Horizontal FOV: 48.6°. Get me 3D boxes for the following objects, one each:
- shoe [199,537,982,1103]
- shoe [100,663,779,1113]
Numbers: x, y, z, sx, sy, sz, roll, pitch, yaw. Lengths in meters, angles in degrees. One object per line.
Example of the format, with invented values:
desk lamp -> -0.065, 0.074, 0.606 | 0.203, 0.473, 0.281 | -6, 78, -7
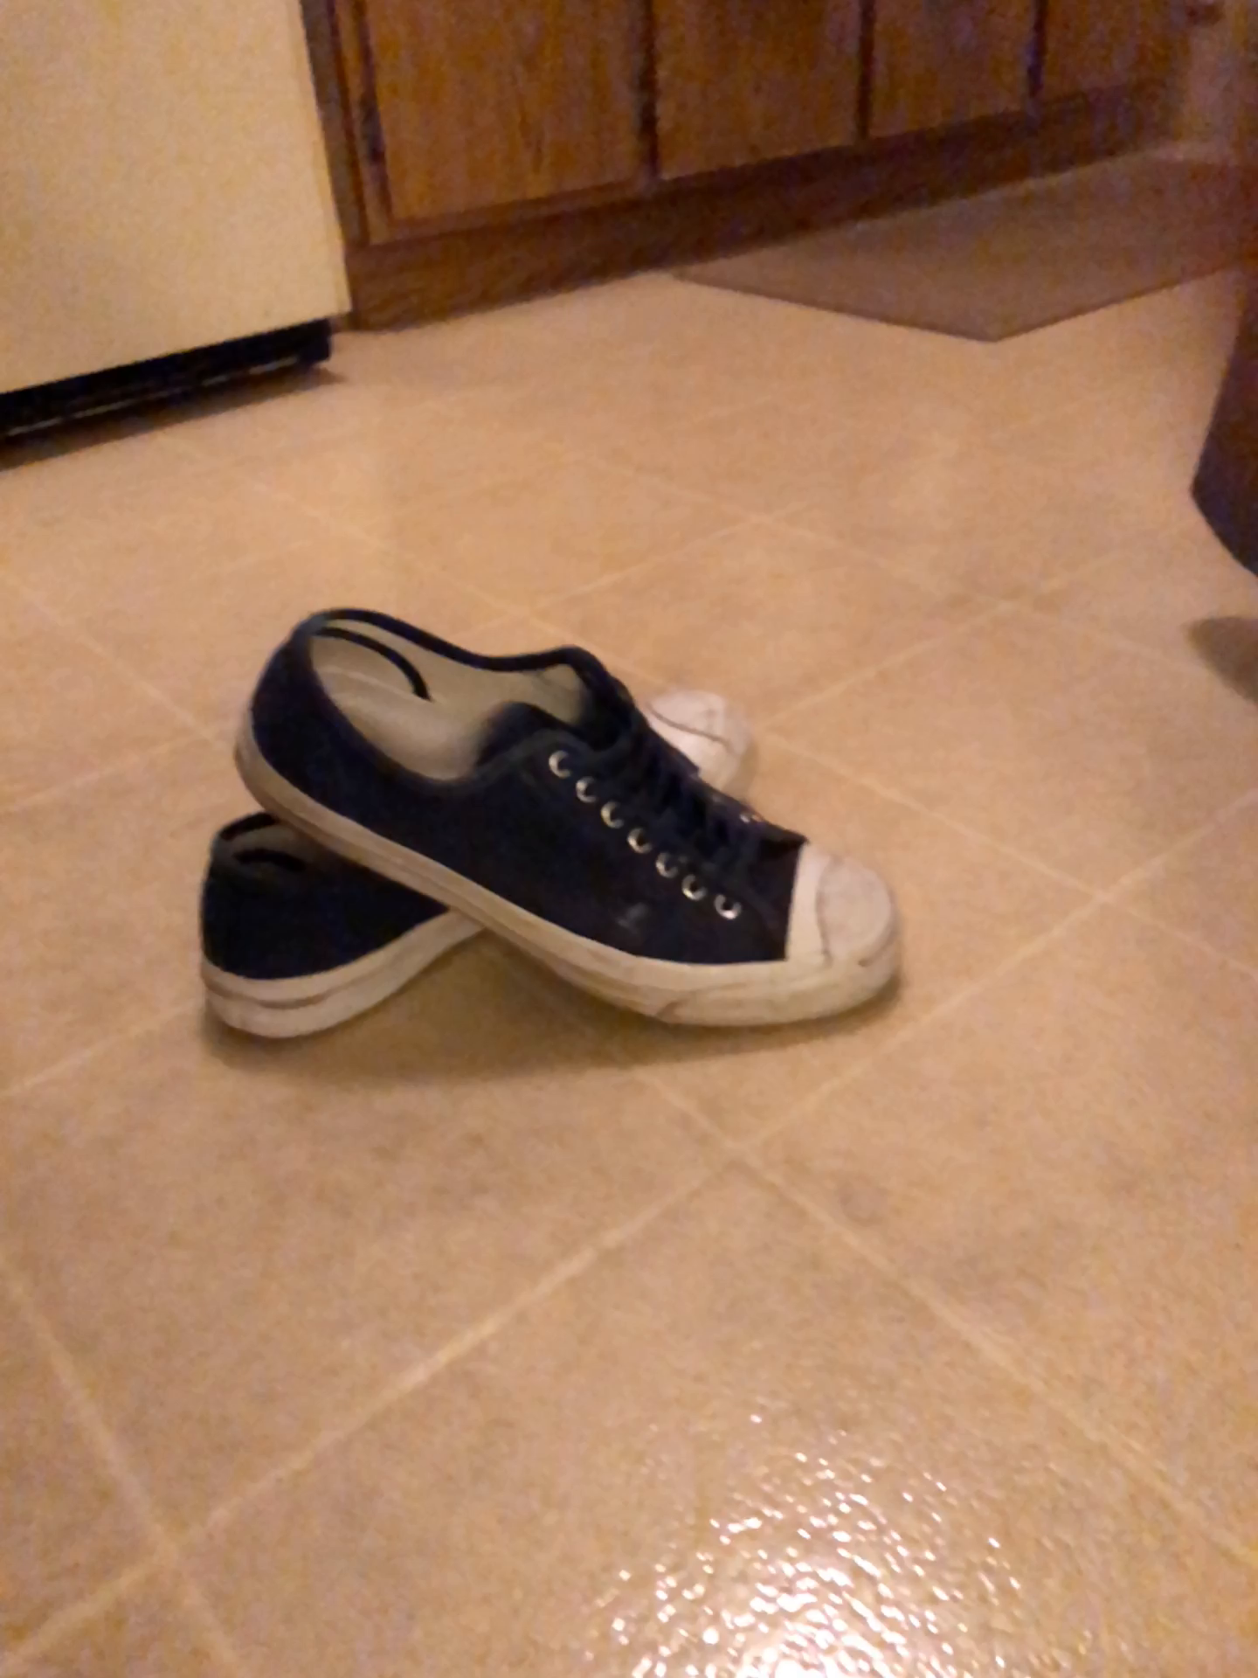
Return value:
shoe -> -0.014, -0.003, 0.571 | 0.290, 0.099, 0.101 | 21, 53, -6
shoe -> -0.076, 0.007, 0.646 | 0.291, 0.080, 0.110 | -21, 41, -36
